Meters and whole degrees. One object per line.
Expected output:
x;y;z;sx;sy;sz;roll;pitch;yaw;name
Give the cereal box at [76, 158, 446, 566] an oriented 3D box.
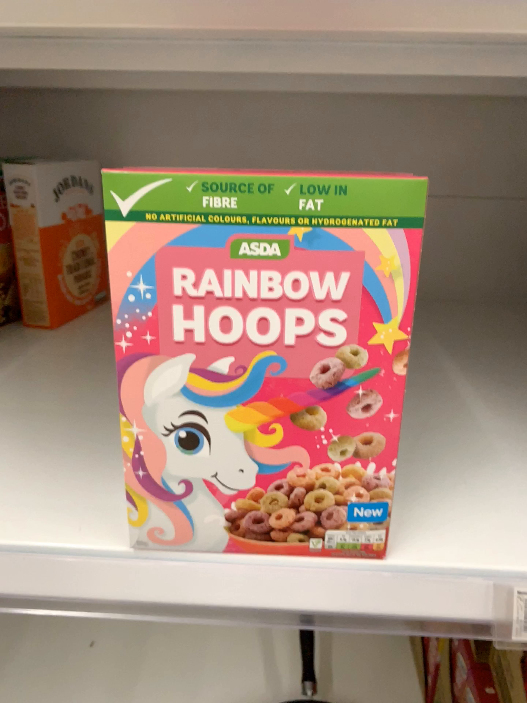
-0.004;0.014;0.387;0.210;0.278;0.060;2;20;2;cereal box
